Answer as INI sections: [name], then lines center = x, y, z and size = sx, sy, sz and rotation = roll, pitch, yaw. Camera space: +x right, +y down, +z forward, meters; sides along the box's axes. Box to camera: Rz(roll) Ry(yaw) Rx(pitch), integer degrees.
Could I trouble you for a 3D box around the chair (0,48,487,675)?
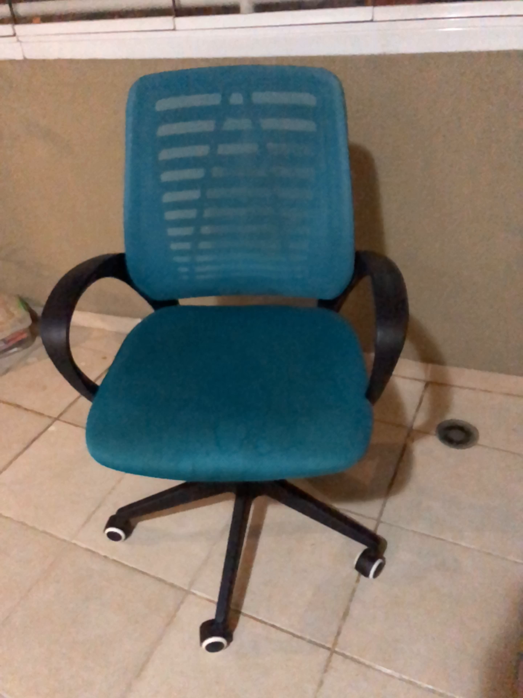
[chair]
center = -0.063, 0.009, 1.146
size = 0.710, 0.923, 0.746
rotation = 0, 36, 8
